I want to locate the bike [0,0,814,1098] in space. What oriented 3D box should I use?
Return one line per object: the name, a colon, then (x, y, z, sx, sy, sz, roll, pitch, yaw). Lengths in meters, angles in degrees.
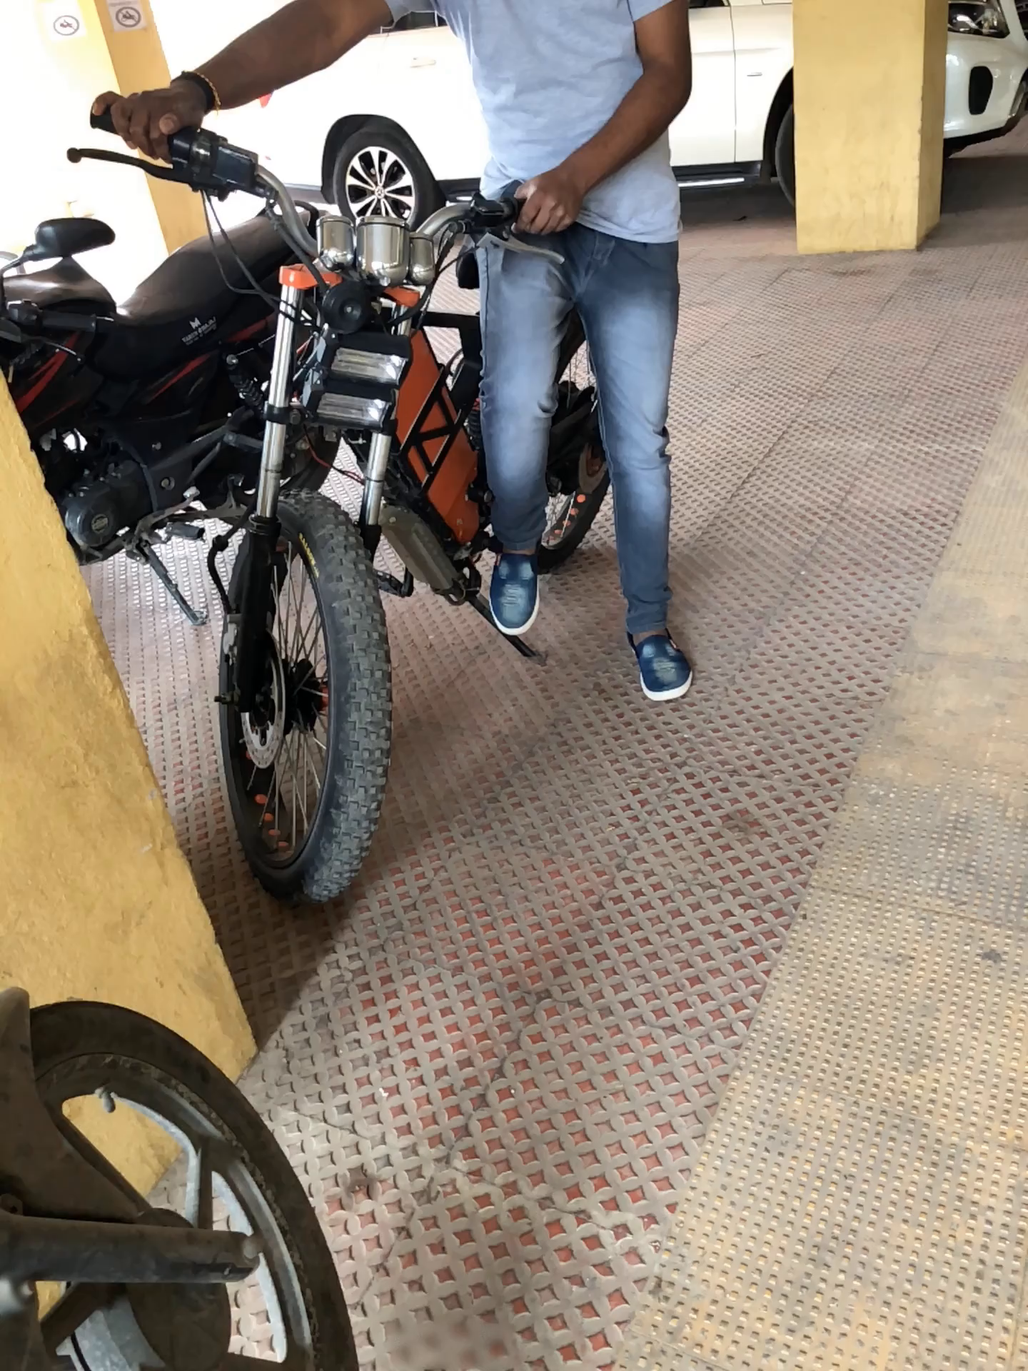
bike: (0.074, -0.464, 2.173, 0.753, 1.184, 1.759, 4, 37, 22)
